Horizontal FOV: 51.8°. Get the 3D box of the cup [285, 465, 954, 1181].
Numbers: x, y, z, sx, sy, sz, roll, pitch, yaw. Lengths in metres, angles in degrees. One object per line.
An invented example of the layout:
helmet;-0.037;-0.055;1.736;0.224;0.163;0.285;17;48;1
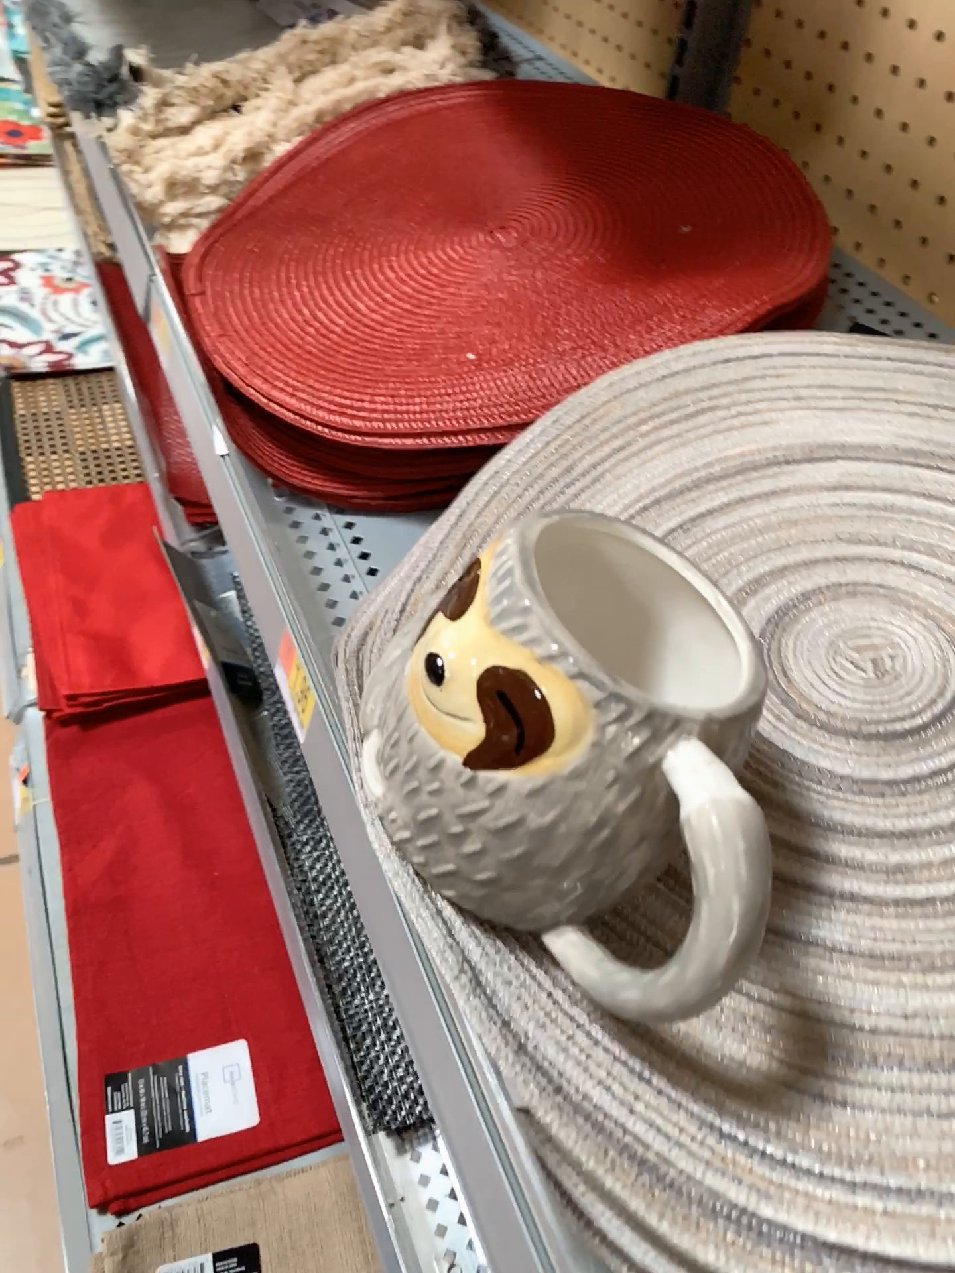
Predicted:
cup;0.030;0.039;0.271;0.106;0.089;0.151;-1;47;-34
